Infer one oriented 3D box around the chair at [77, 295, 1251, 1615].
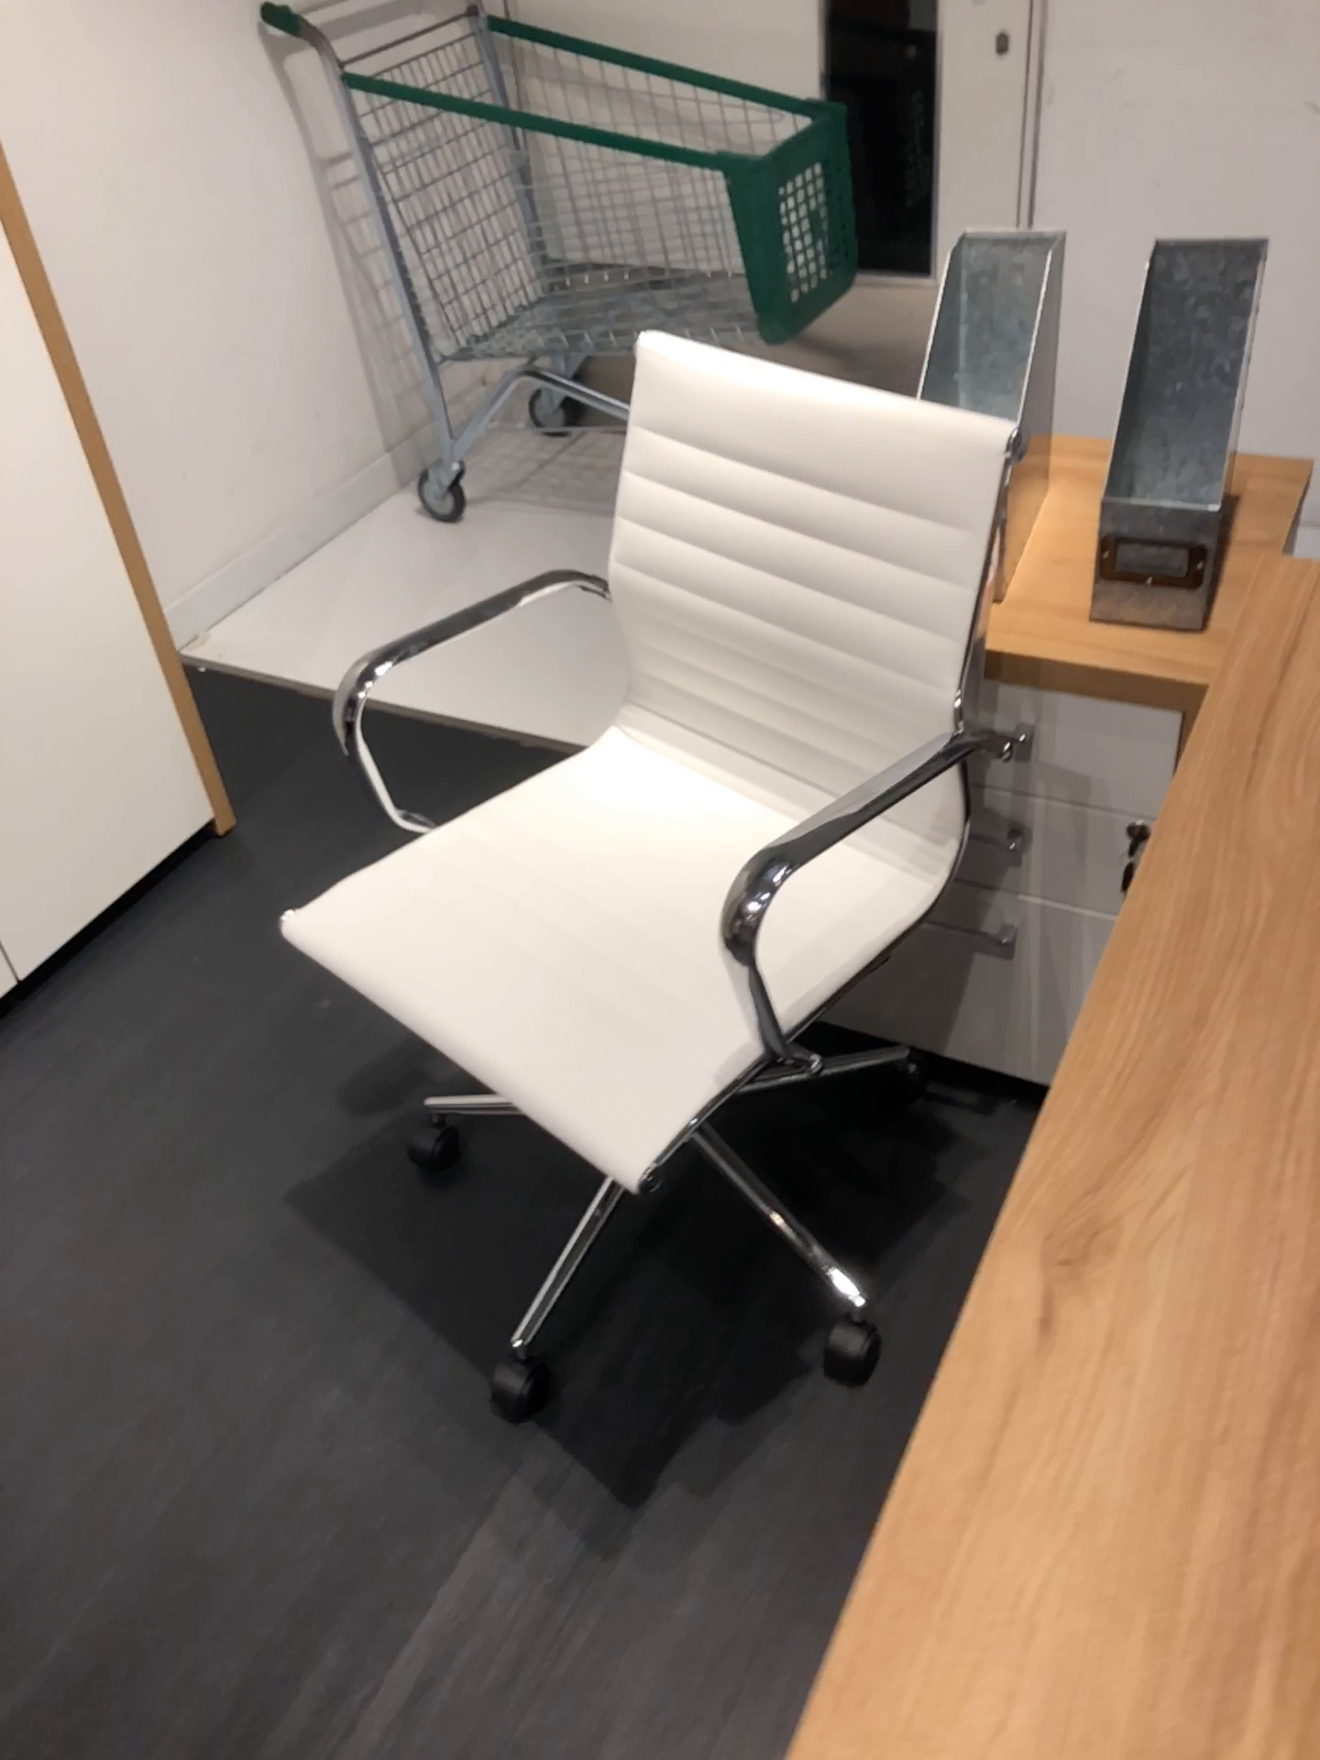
[{"bbox_3d":[0.044,0.038,1.529,0.763,0.953,0.653,-34,46,-29],"label":"chair"}]
